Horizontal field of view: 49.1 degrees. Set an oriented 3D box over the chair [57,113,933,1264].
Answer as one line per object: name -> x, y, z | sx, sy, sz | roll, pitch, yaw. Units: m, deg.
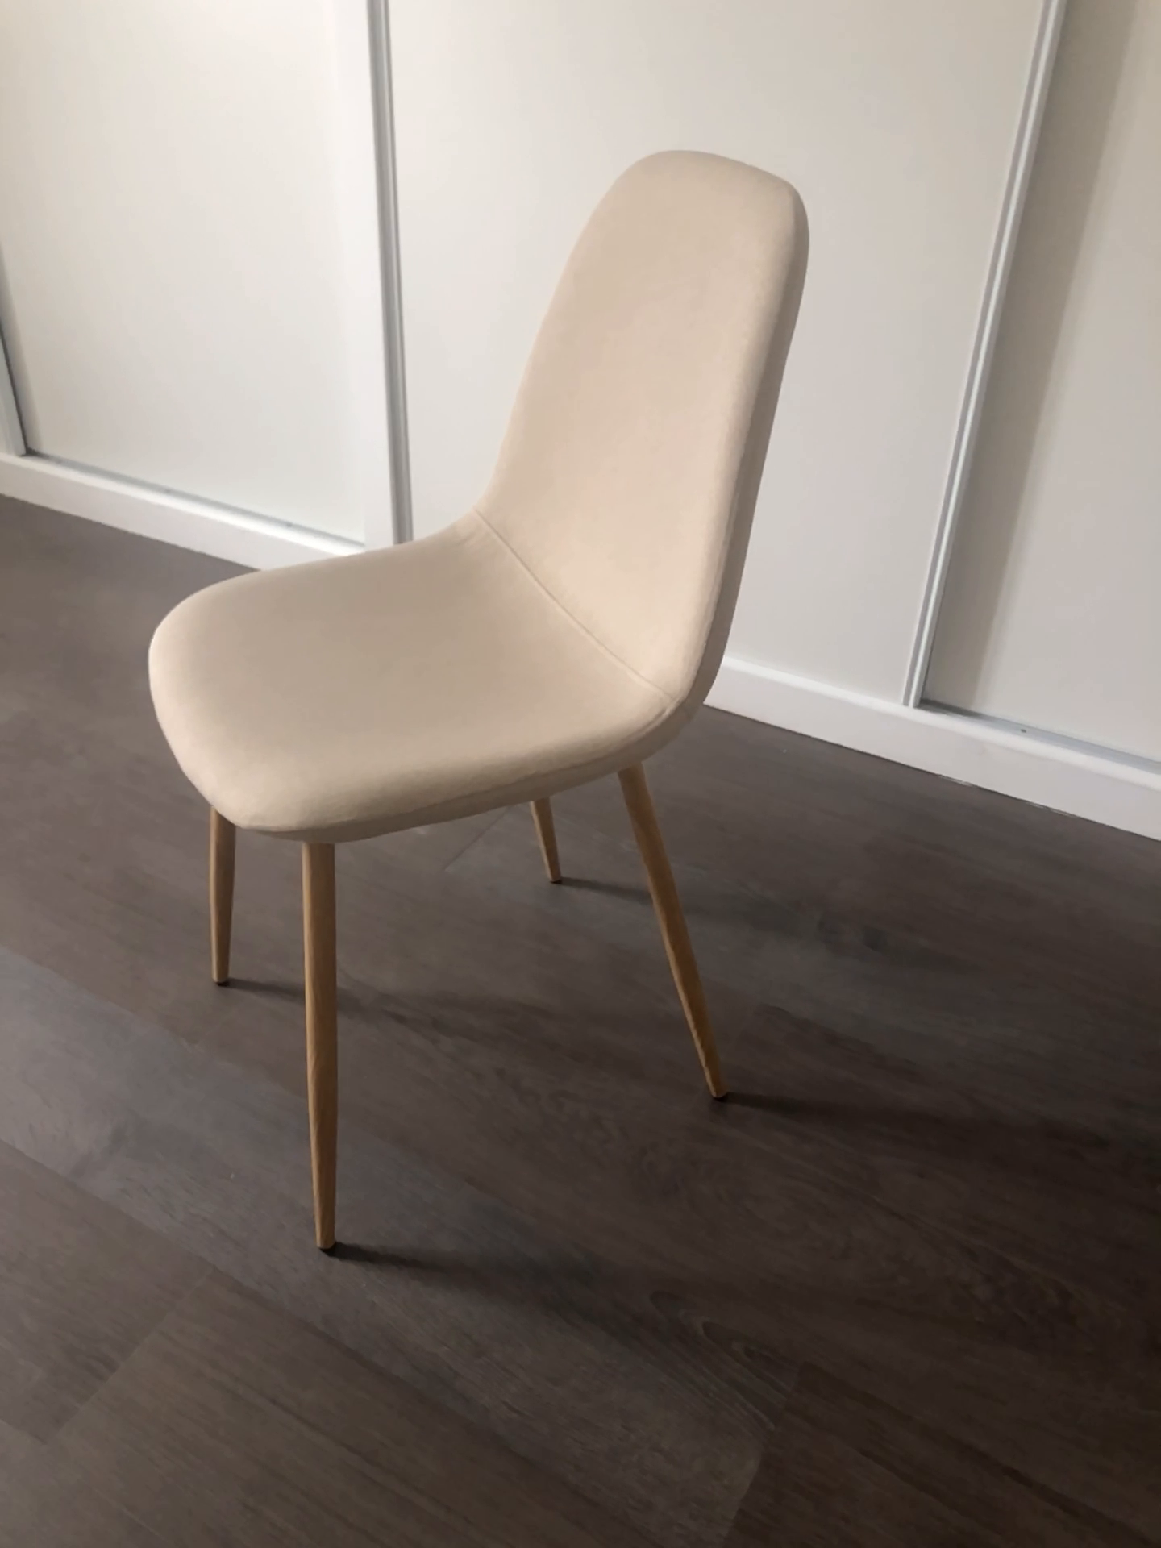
chair -> -0.098, -0.086, 1.137 | 0.501, 0.845, 0.431 | -13, 36, -21
